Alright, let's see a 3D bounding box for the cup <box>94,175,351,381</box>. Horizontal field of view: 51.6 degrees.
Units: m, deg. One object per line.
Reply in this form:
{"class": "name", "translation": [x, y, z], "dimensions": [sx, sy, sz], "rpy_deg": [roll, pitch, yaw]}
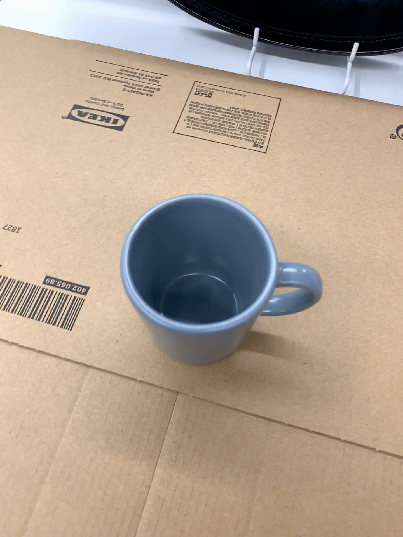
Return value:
{"class": "cup", "translation": [0.007, 0.007, 0.170], "dimensions": [0.080, 0.060, 0.060], "rpy_deg": [2, 61, 0]}
